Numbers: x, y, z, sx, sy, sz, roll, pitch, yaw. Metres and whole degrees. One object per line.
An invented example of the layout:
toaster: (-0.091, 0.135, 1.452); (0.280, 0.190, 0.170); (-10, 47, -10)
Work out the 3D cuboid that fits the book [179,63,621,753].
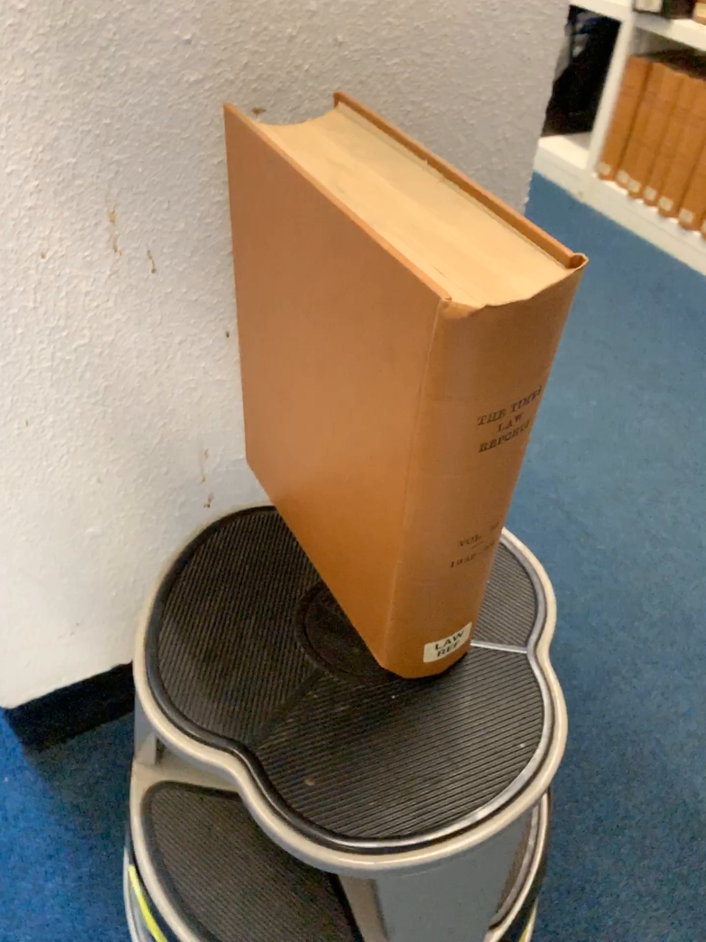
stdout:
book: (-0.004, -0.024, 0.438); (0.090, 0.337, 0.222); (-20, 48, -24)
